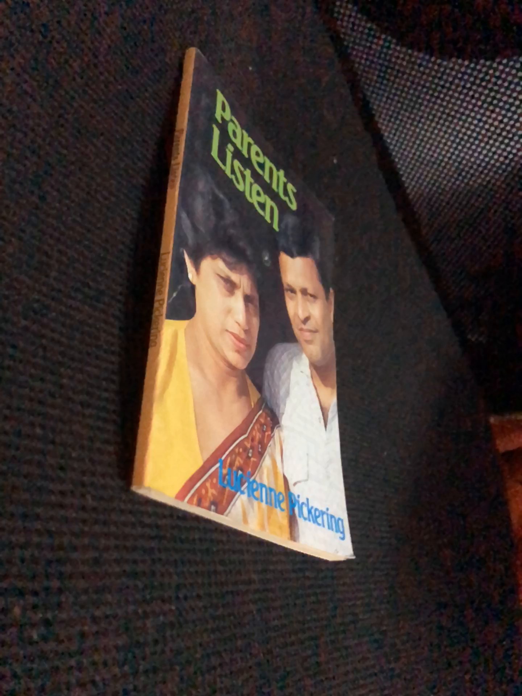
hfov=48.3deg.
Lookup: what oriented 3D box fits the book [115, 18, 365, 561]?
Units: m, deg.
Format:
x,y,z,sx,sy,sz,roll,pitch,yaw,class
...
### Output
x,y,z,sx,sy,sz,roll,pitch,yaw,class
0.003,-0.023,0.239,0.130,0.010,0.191,38,43,-47,book
